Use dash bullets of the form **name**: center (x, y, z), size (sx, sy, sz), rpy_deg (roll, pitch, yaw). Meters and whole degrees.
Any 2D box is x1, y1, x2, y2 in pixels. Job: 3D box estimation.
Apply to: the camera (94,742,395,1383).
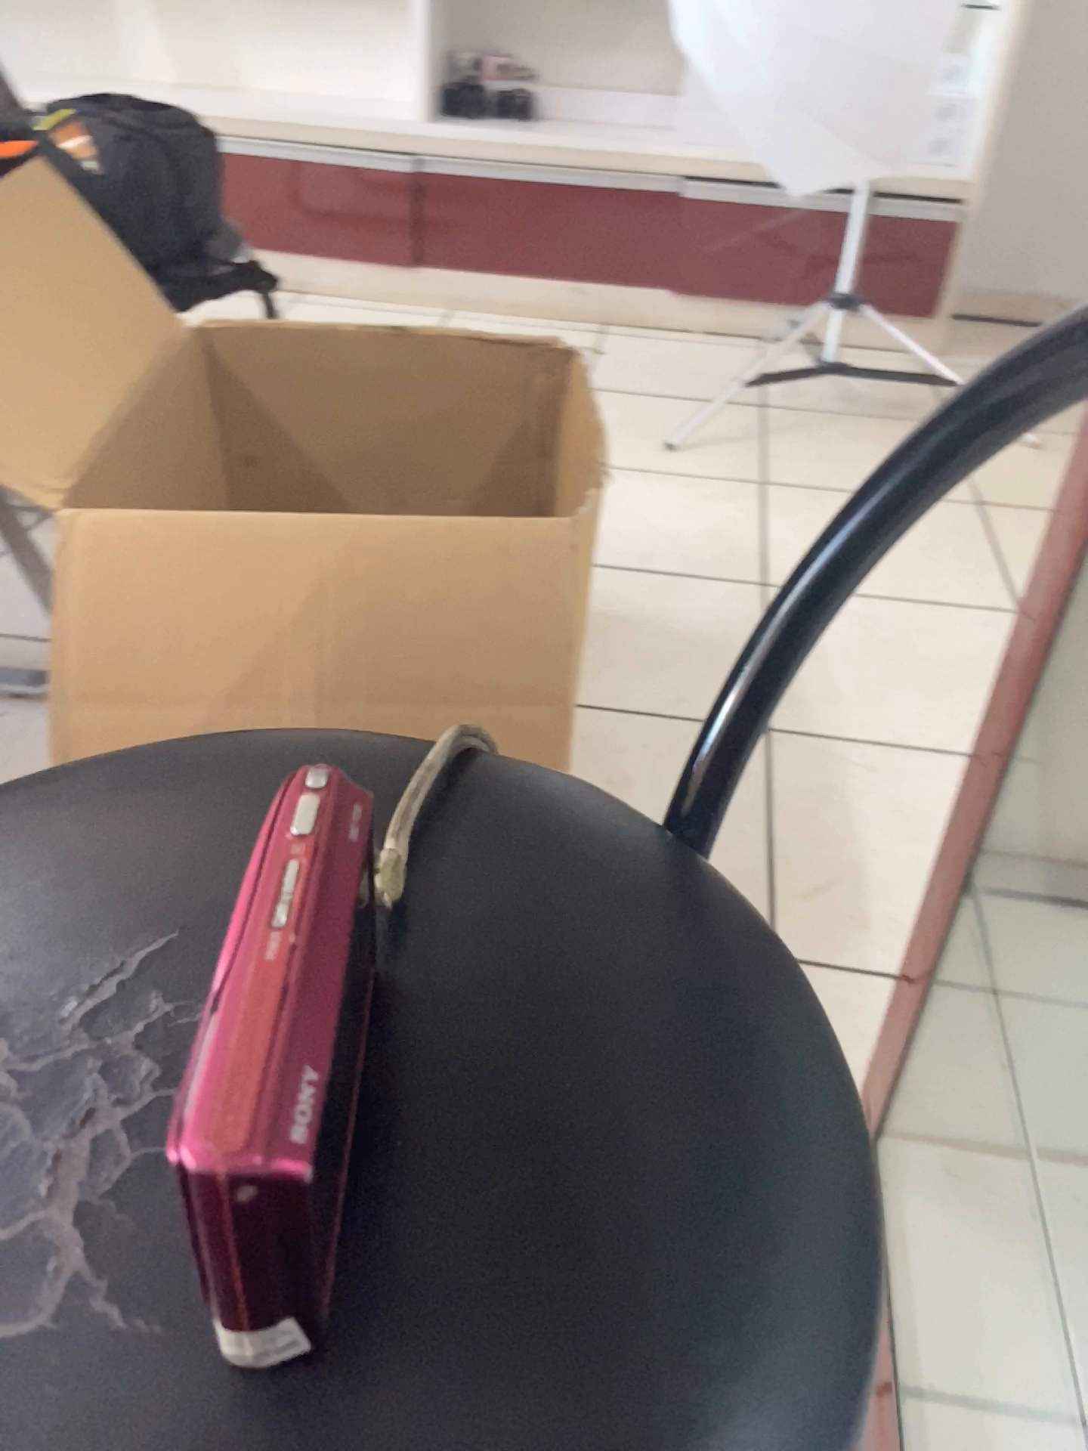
- **camera**: center (-0.049, 0.058, 0.213), size (0.030, 0.060, 0.101), rpy_deg (2, 36, -2)
